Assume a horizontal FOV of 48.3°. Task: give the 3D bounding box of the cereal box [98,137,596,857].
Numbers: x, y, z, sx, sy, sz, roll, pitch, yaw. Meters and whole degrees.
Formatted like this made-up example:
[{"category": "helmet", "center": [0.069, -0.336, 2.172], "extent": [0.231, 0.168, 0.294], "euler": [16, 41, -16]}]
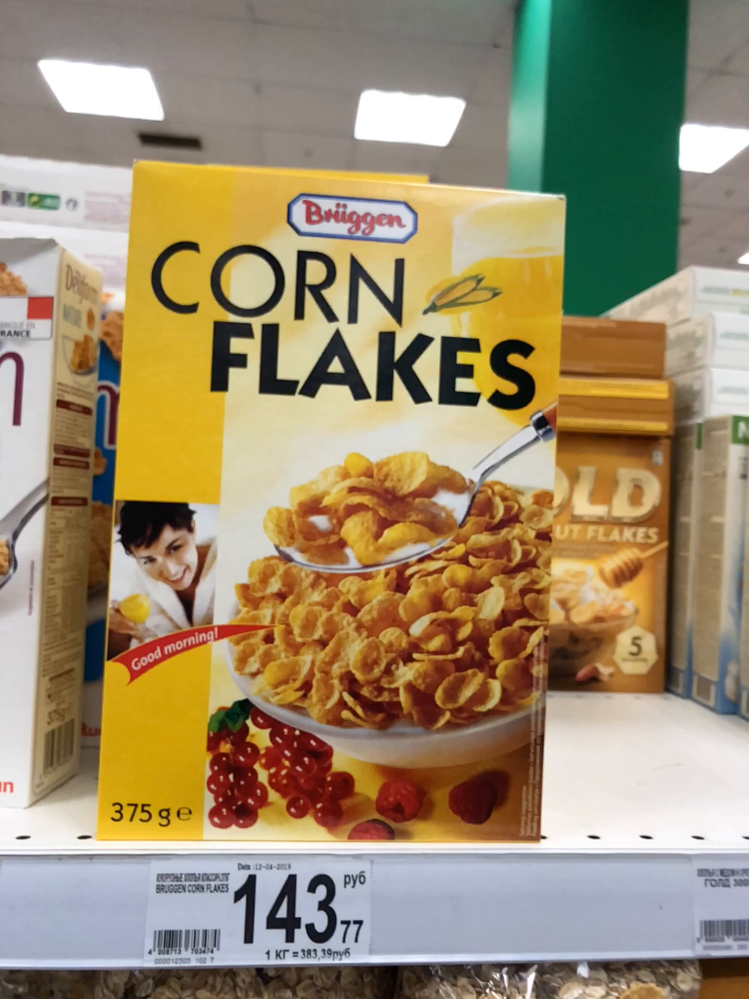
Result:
[{"category": "cereal box", "center": [-0.012, 0.002, 0.399], "extent": [0.200, 0.300, 0.080], "euler": [3, -1, -6]}]
